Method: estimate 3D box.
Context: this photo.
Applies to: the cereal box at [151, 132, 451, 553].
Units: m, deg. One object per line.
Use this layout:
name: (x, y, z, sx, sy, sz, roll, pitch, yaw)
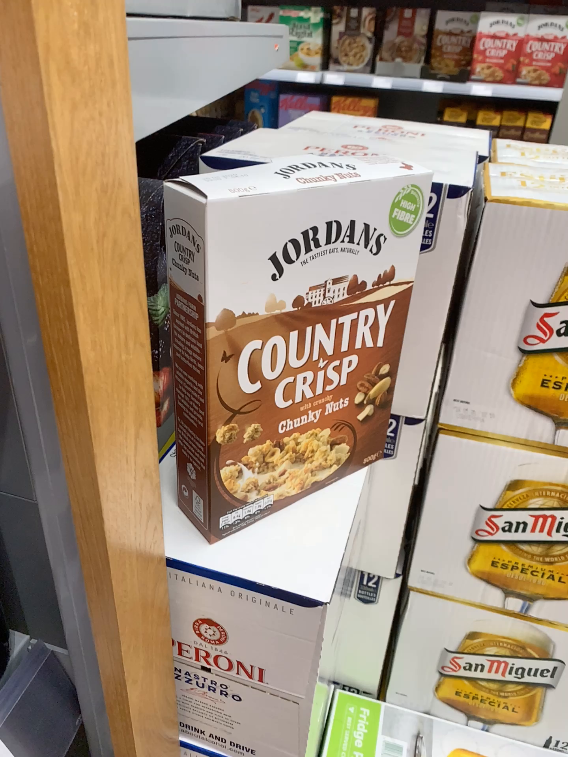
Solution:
cereal box: (0.013, -0.027, 0.414, 0.191, 0.258, 0.050, -19, 37, -33)
